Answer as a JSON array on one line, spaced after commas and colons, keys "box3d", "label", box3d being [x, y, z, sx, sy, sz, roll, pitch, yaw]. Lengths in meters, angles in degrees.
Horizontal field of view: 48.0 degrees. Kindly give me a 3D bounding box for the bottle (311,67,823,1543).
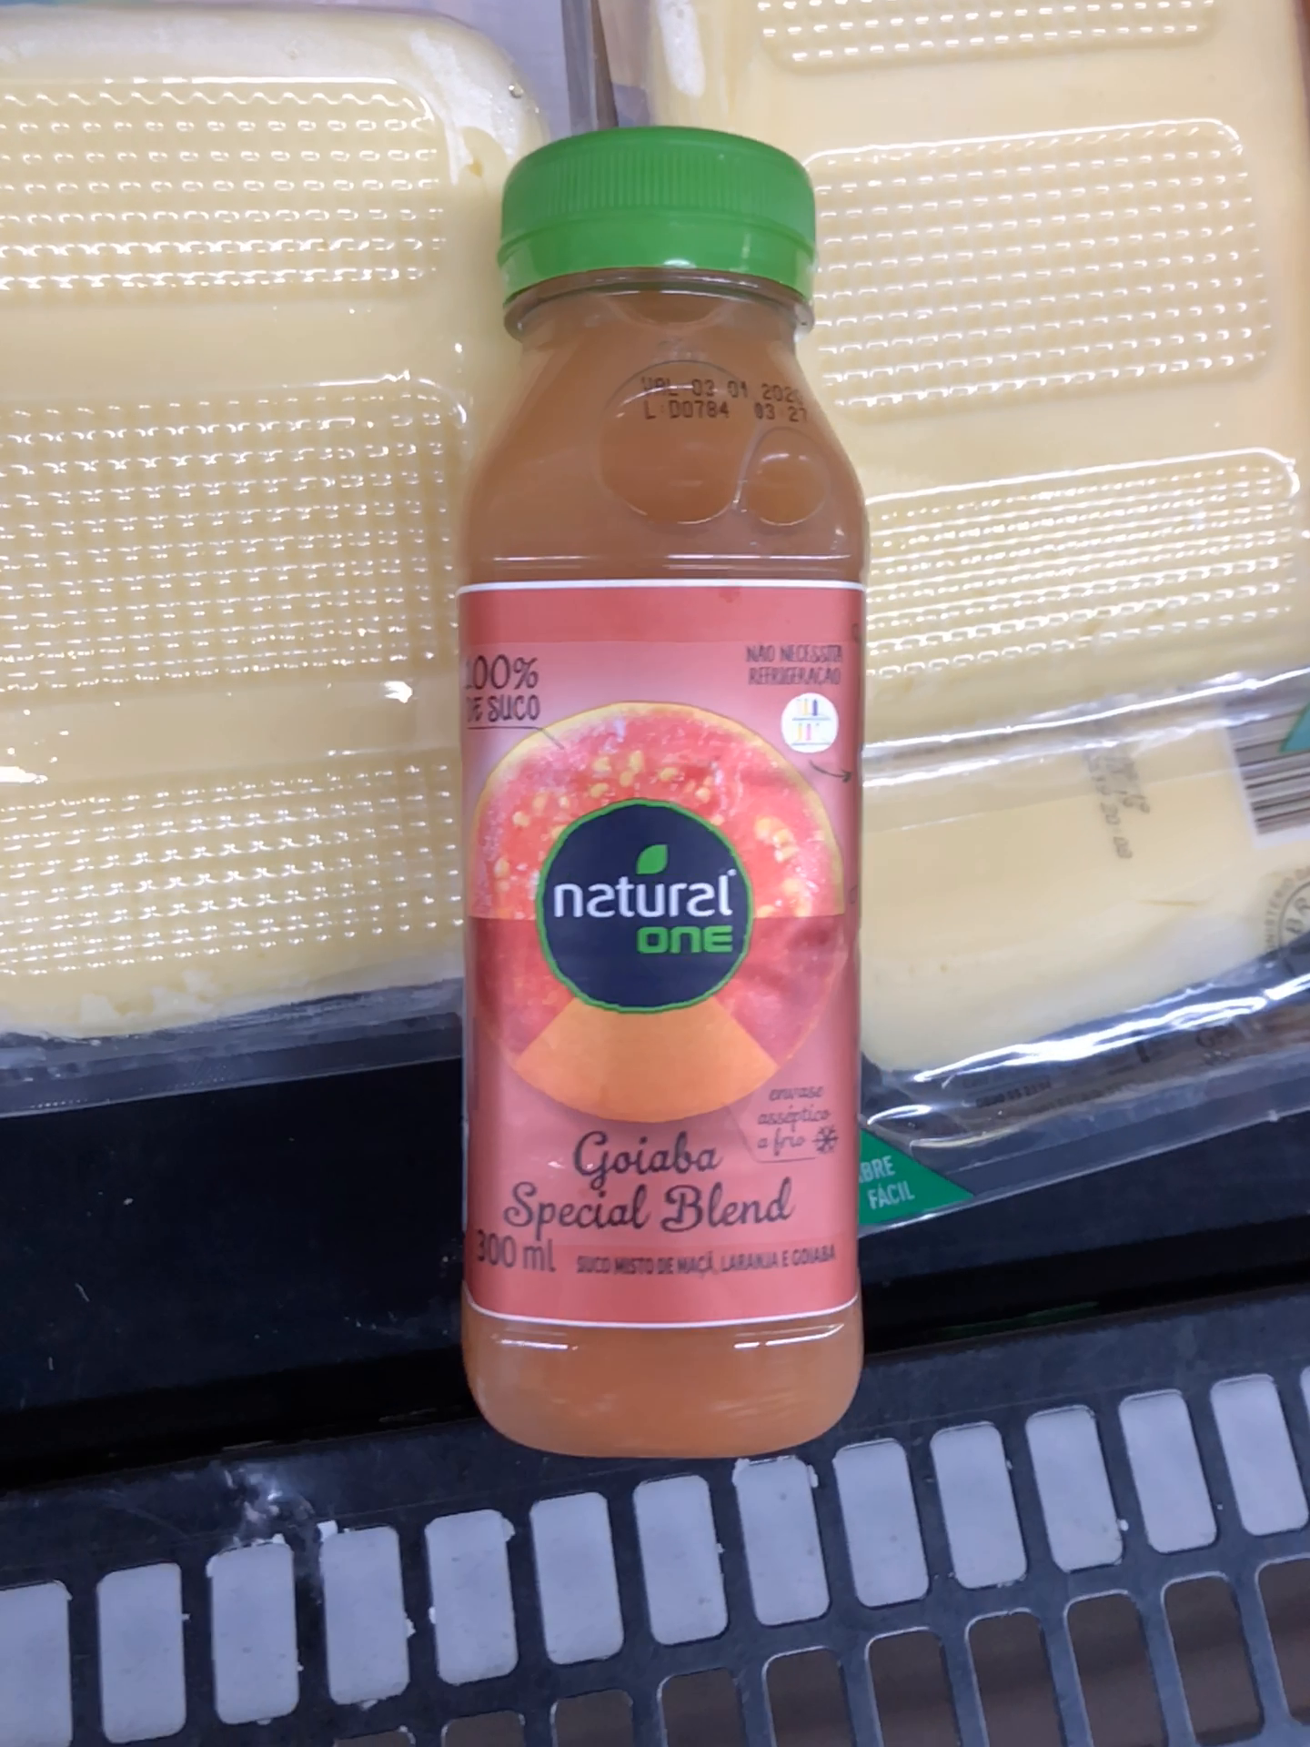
[{"box3d": [-0.015, -0.009, 0.217, 0.060, 0.070, 0.180, -1, 89, -7], "label": "bottle"}]
